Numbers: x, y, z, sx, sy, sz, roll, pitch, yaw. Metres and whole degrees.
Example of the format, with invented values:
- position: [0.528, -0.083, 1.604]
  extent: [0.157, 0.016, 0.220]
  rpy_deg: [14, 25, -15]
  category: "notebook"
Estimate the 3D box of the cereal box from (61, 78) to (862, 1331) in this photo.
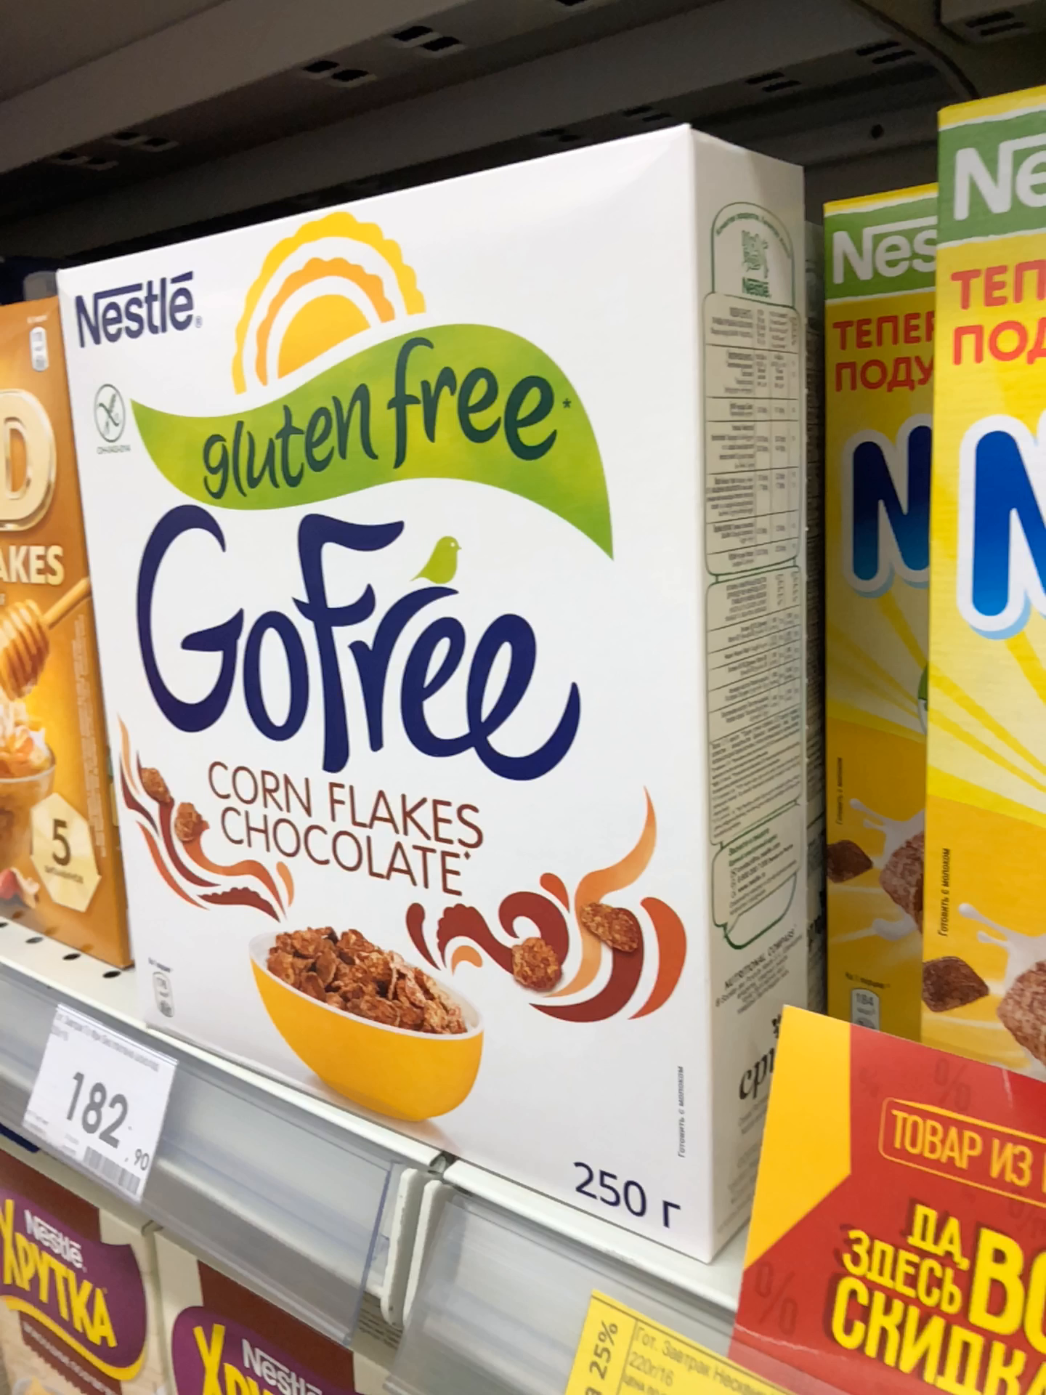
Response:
- position: [-0.026, -0.002, 0.281]
  extent: [0.200, 0.219, 0.050]
  rpy_deg: [7, 13, 39]
  category: "cereal box"
